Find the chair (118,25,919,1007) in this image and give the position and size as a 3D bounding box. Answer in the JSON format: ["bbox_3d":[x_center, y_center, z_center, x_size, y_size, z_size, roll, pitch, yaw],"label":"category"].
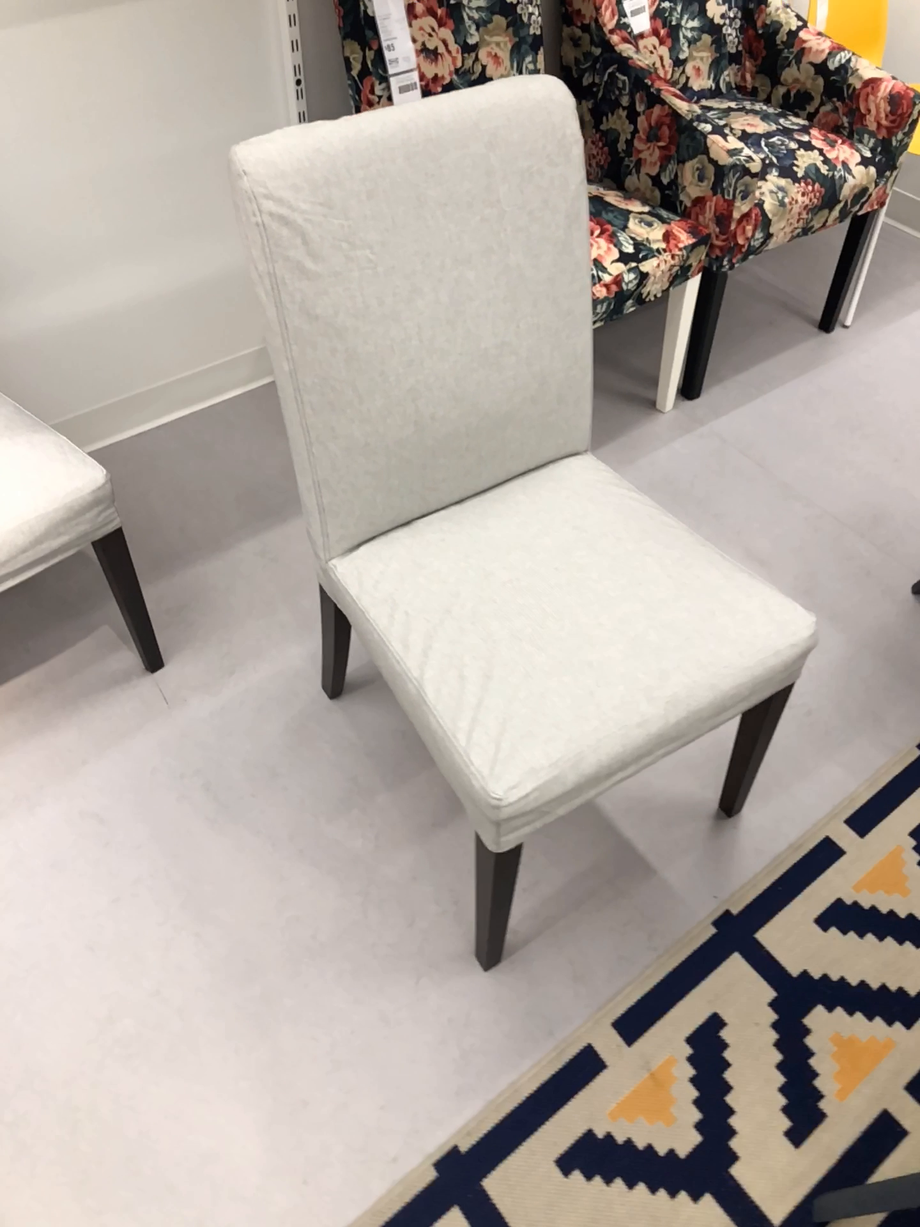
[{"bbox_3d":[0.066,-0.106,1.237,0.561,0.855,0.643,-26,53,-23],"label":"chair"}]
